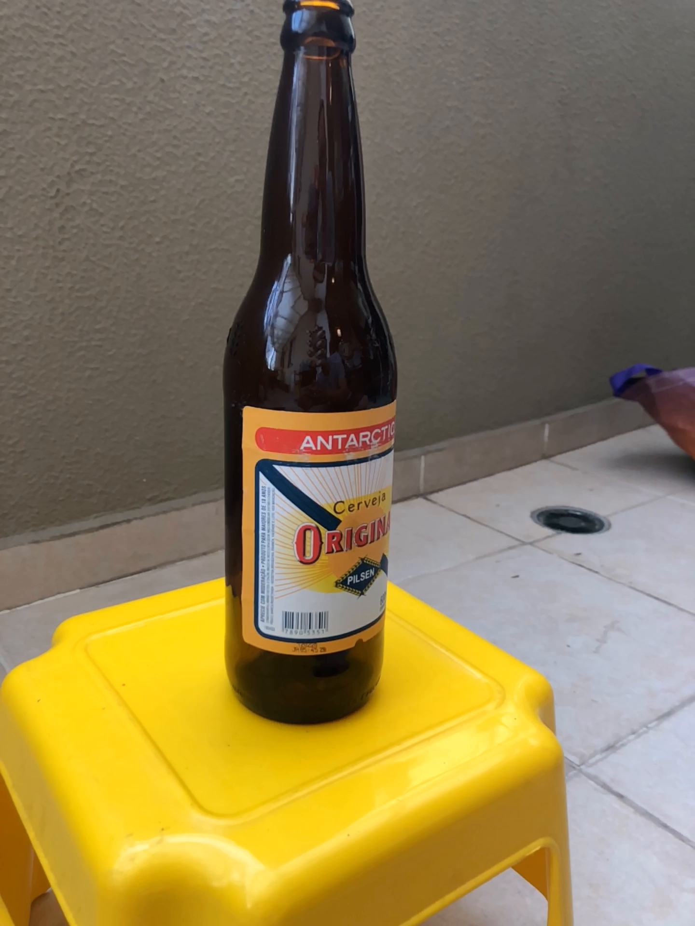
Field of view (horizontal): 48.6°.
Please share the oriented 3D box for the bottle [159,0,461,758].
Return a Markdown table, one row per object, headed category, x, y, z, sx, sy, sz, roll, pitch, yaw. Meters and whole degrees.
| category | x | y | z | sx | sy | sz | roll | pitch | yaw |
| --- | --- | --- | --- | --- | --- | --- | --- | --- | --- |
| bottle | -0.022 | -0.037 | 0.320 | 0.080 | 0.289 | 0.080 | 2 | 16 | -1 |
